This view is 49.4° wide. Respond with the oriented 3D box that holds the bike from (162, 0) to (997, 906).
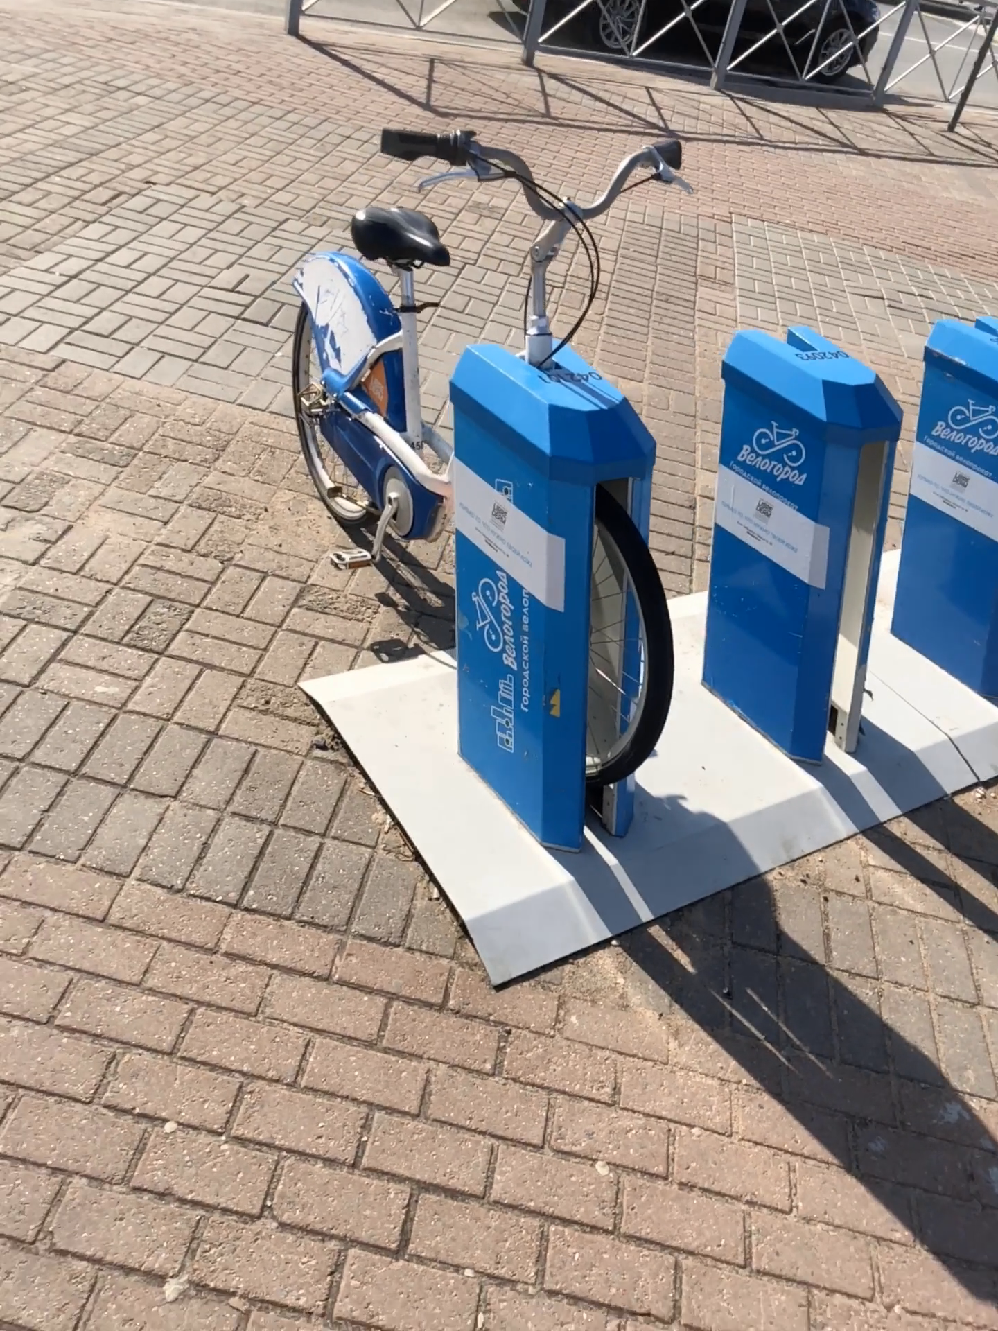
[{"bbox_3d":[-0.092,-0.570,2.238,0.683,1.234,1.680,-11,41,-30],"label":"bike"}]
